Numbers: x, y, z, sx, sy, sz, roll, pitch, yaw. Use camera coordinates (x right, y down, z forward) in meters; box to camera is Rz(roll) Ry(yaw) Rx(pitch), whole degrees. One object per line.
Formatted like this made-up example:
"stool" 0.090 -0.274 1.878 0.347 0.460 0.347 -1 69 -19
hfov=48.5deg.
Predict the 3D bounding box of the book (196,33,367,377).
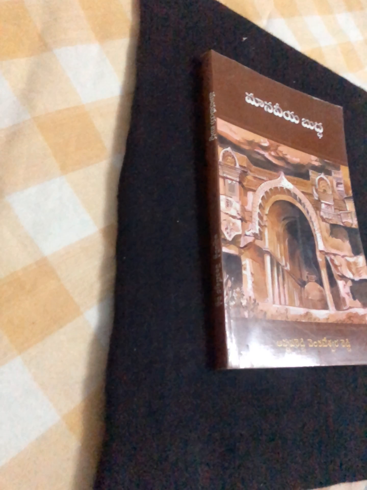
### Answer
"book" 0.079 -0.028 0.295 0.141 0.020 0.230 8 70 -29
